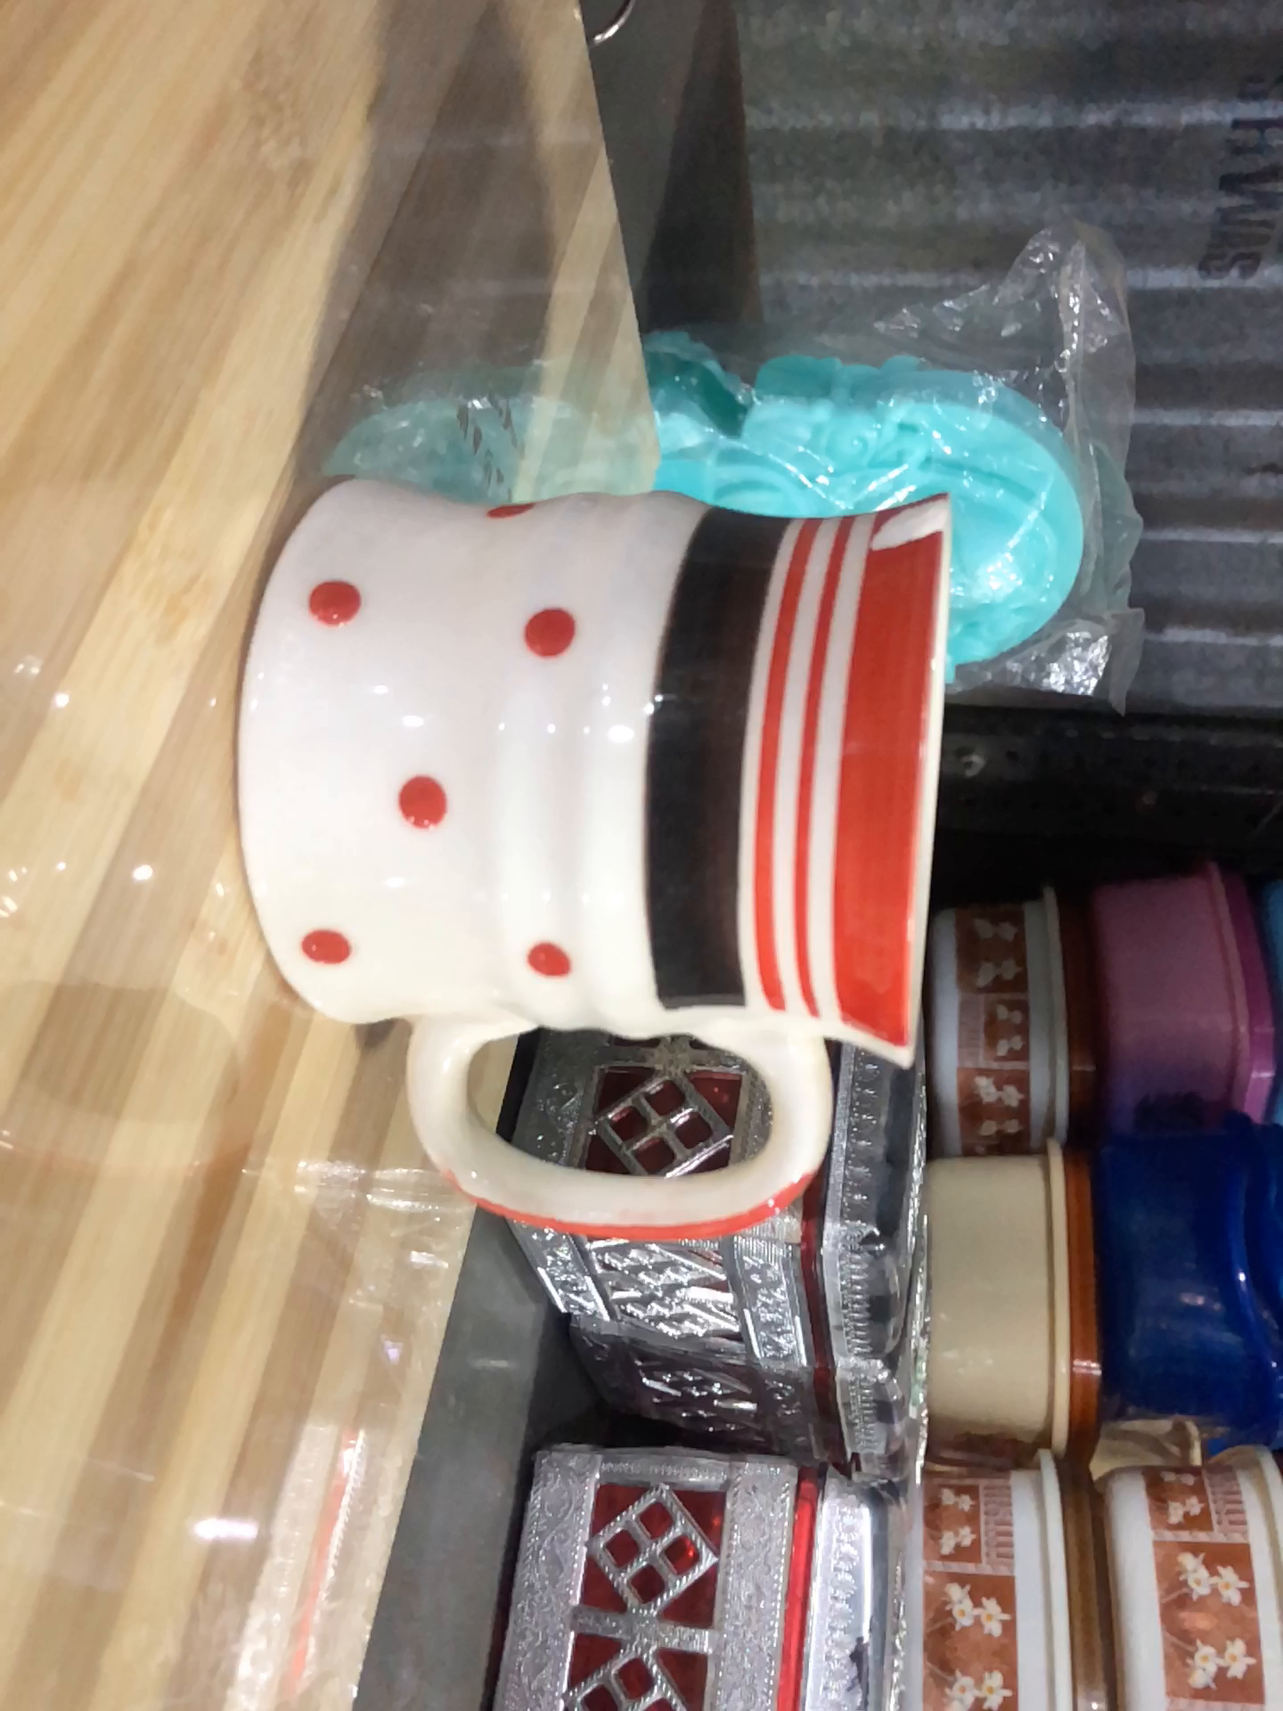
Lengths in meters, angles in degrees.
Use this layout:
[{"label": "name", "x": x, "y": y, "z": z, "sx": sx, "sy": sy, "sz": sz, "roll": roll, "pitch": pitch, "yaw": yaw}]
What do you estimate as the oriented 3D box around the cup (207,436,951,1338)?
[{"label": "cup", "x": 0.000, "y": -0.004, "z": 0.227, "sx": 0.100, "sy": 0.090, "sz": 0.110, "roll": 3, "pitch": 90, "yaw": -79}]
